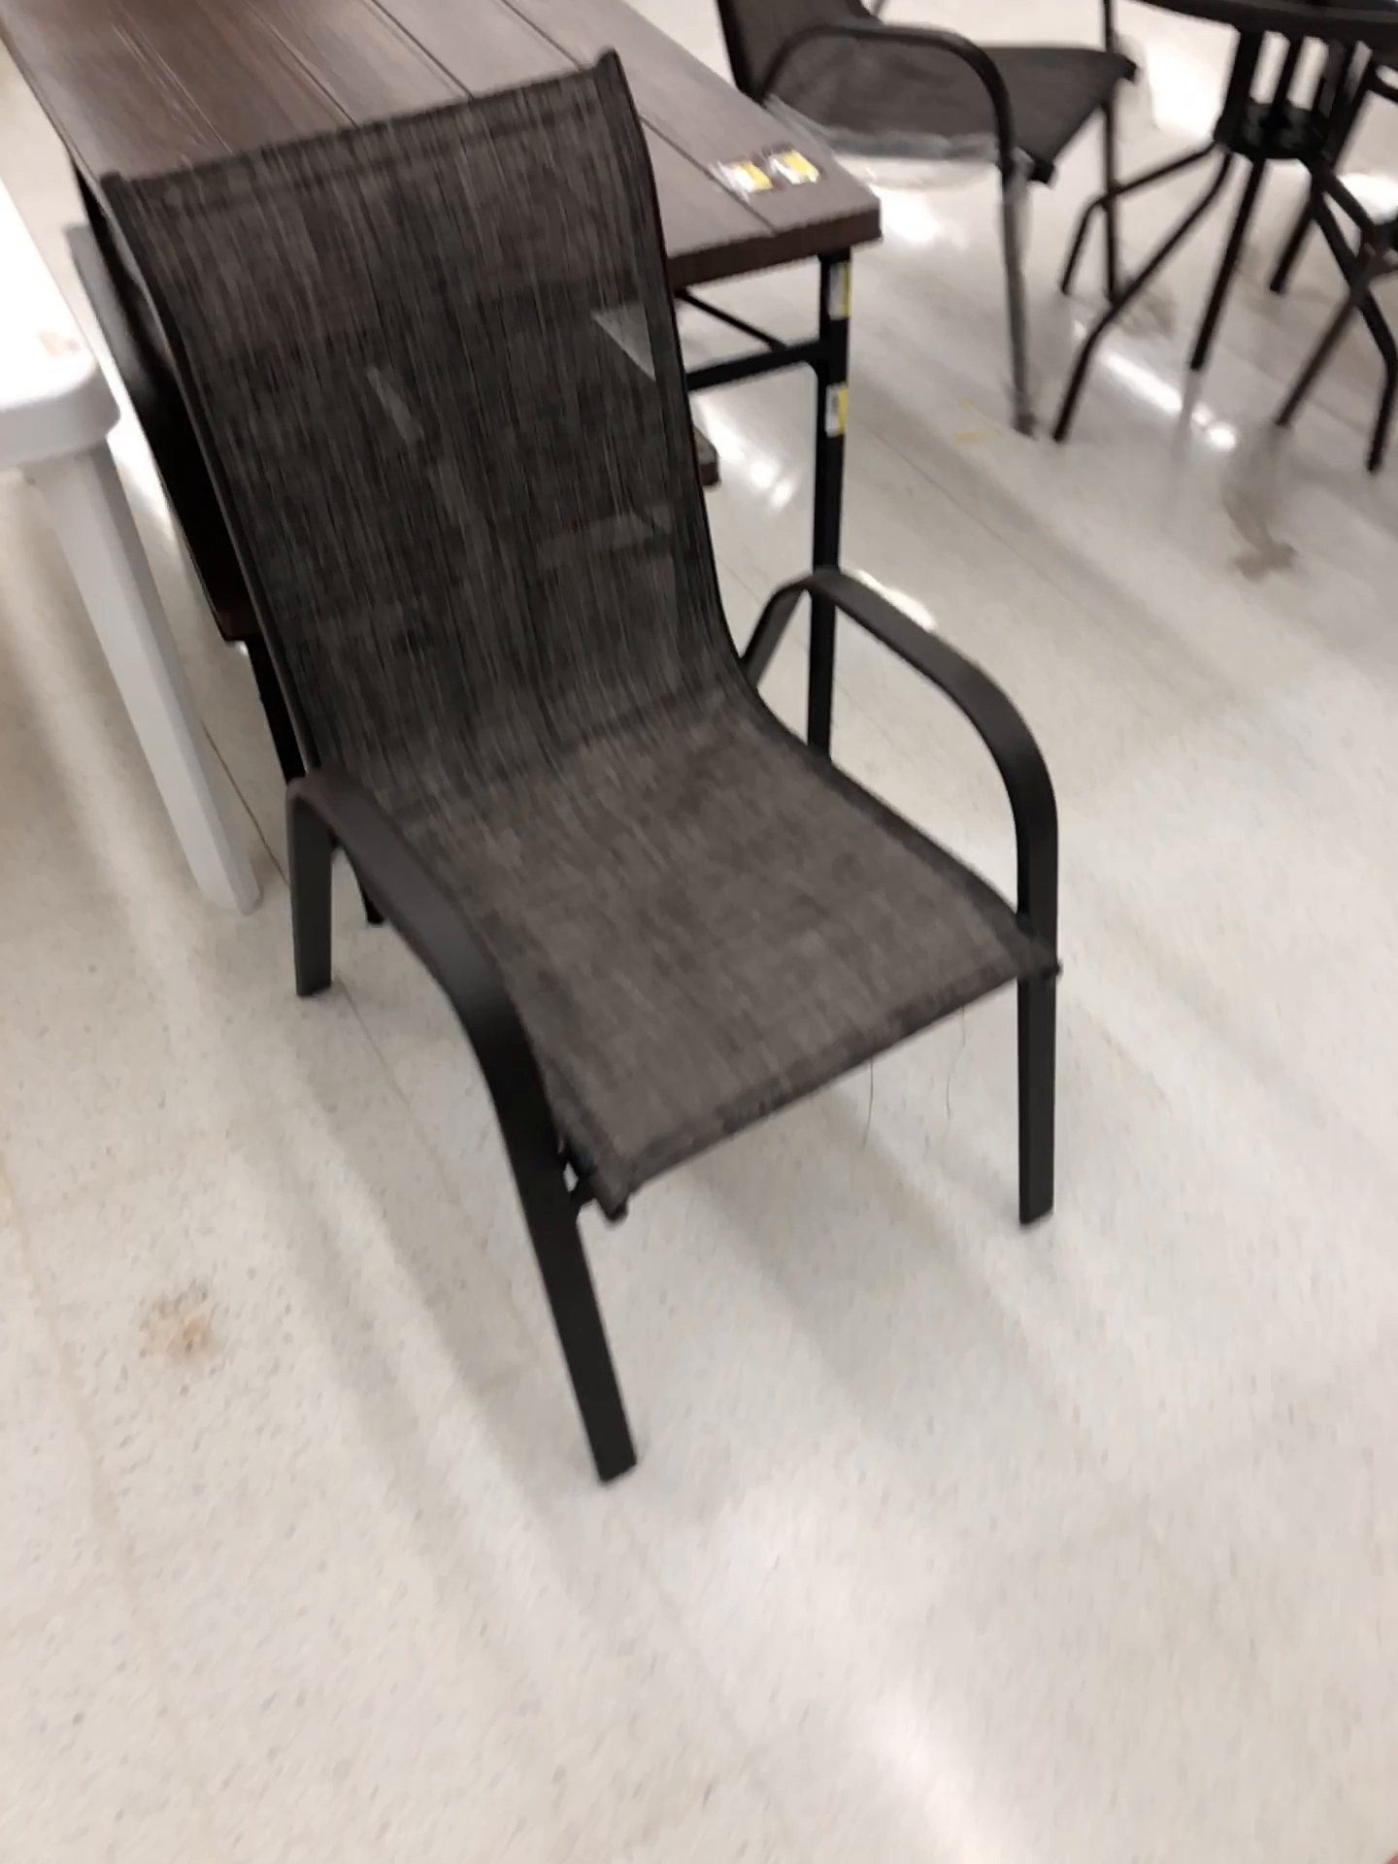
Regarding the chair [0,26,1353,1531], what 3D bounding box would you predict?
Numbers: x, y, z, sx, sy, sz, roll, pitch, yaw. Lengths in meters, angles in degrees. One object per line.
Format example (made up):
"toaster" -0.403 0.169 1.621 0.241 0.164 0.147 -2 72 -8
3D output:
"chair" -0.069 -0.121 1.285 0.601 0.855 0.713 -25 53 -20
